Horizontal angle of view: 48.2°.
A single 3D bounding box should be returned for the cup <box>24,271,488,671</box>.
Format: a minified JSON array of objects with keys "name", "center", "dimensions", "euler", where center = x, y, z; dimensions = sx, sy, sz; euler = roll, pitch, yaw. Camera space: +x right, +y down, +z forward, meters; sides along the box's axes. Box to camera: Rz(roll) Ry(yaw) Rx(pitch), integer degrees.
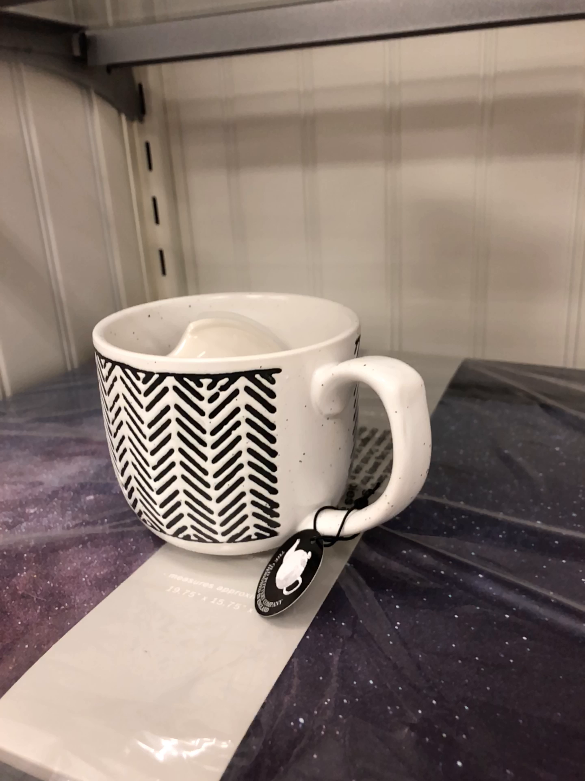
[{"name":"cup","center":[-0.017,0.010,0.240],"dimensions":[0.140,0.079,0.090],"euler":[17,29,42]}]
